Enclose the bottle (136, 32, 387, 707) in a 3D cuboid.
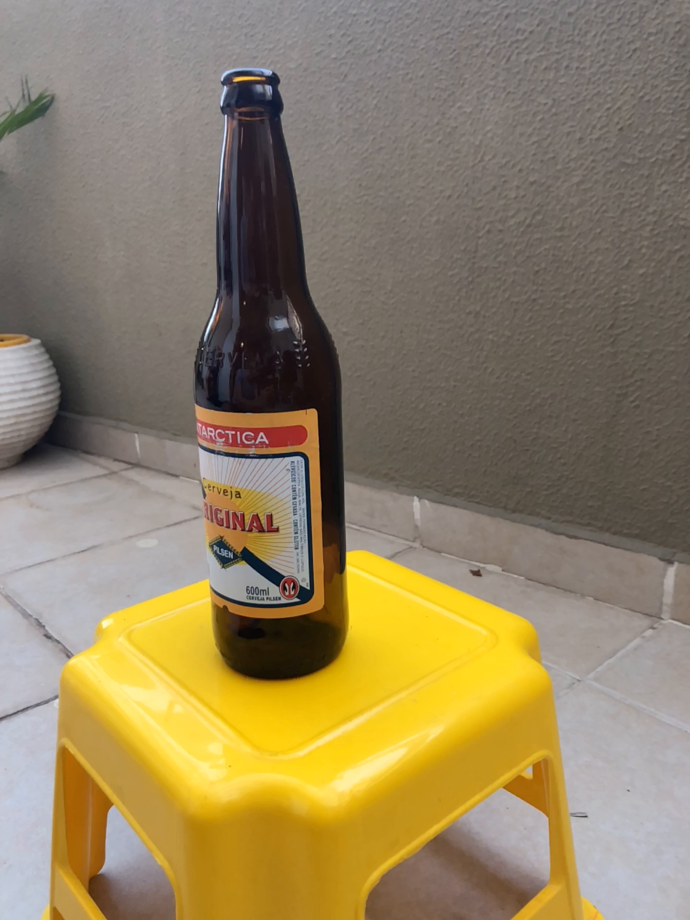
[{"bbox_3d":[-0.037,-0.038,0.380,0.080,0.289,0.080,-1,14,0],"label":"bottle"}]
